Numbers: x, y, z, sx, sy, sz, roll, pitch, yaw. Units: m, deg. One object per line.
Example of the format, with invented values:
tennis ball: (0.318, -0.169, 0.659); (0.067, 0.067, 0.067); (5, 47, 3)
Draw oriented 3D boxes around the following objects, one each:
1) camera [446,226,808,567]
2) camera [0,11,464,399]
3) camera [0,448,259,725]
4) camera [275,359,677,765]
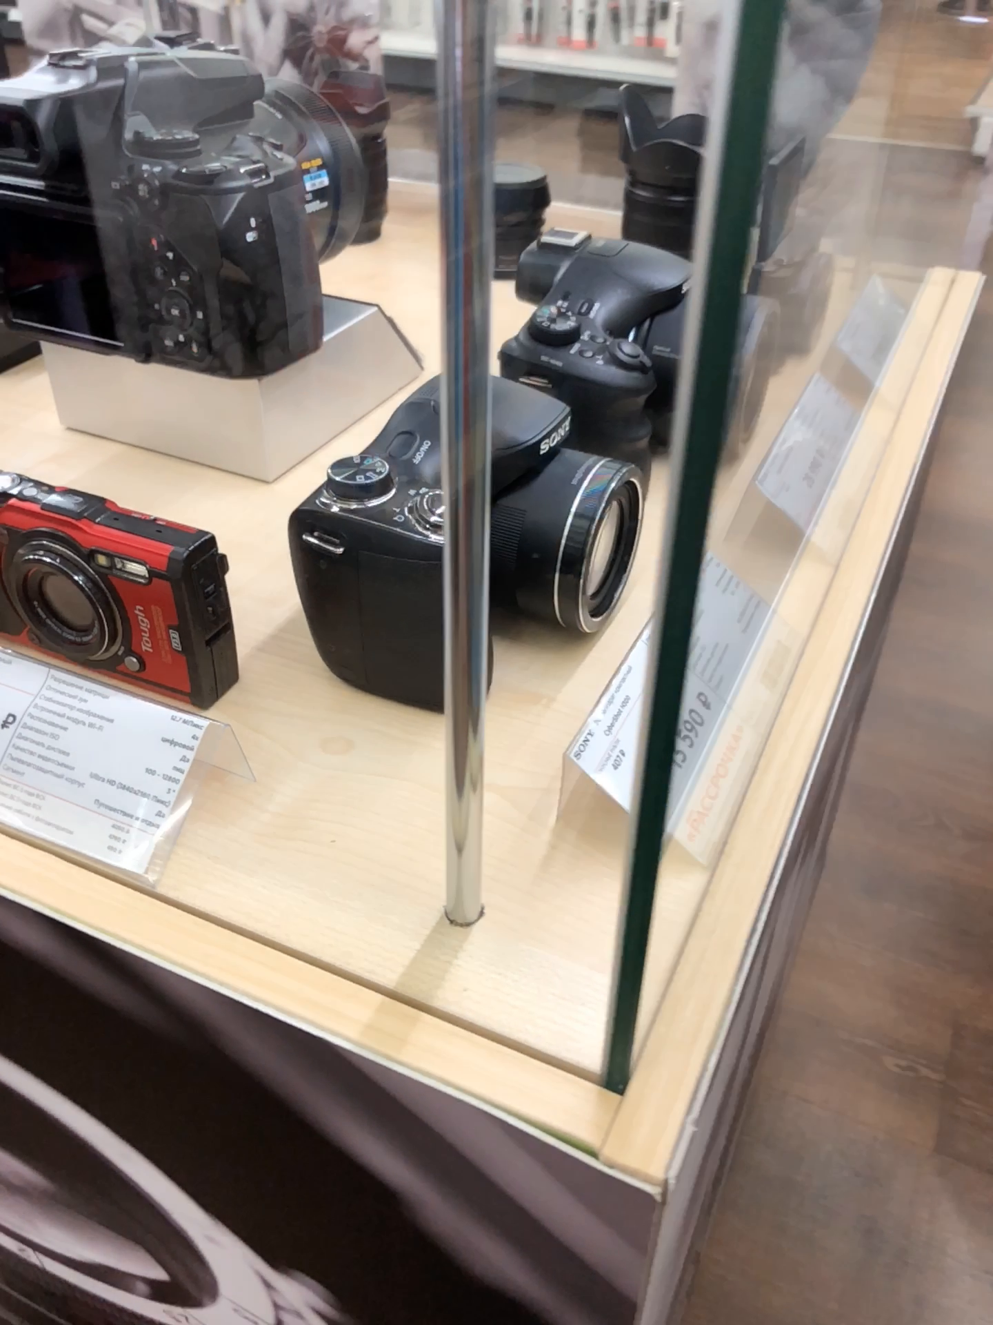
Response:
camera: (0.061, -0.131, 0.518); (0.125, 0.097, 0.124); (17, 40, 20)
camera: (-0.110, -0.207, 0.476); (0.132, 0.106, 0.169); (16, 40, 19)
camera: (-0.142, -0.027, 0.384); (0.111, 0.069, 0.026); (16, 39, 18)
camera: (-0.002, -0.043, 0.400); (0.092, 0.078, 0.124); (17, 40, 20)
